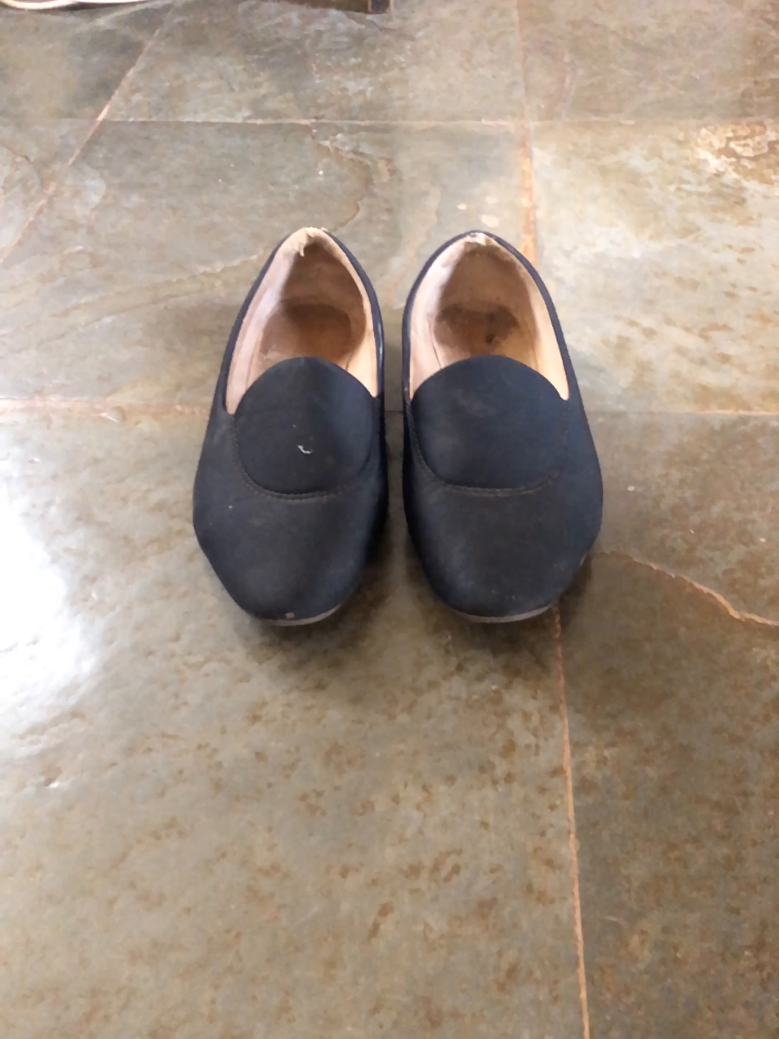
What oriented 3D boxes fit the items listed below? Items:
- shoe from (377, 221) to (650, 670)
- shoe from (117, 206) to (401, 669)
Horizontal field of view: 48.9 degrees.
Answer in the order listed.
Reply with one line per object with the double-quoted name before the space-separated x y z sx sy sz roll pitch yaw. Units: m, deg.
"shoe" 0.057 -0.057 0.468 0.110 0.079 0.272 0 48 3
"shoe" -0.056 -0.061 0.459 0.110 0.079 0.272 -3 48 0
